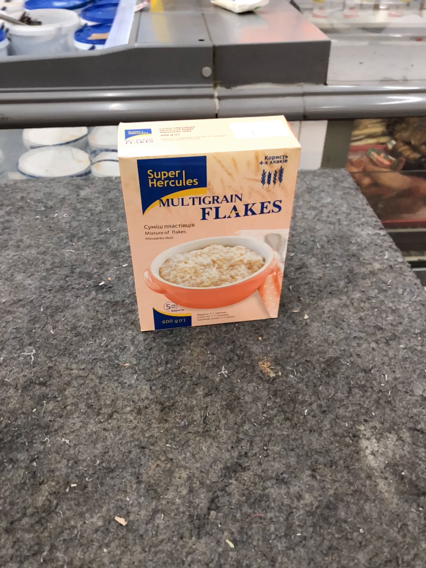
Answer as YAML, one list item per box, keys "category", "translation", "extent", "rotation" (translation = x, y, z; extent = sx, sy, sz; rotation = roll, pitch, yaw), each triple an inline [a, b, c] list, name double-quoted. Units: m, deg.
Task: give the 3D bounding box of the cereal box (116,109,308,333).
- category: "cereal box"
  translation: [-0.004, -0.054, 0.455]
  extent: [0.150, 0.199, 0.070]
  rotation: [-5, 41, -6]
